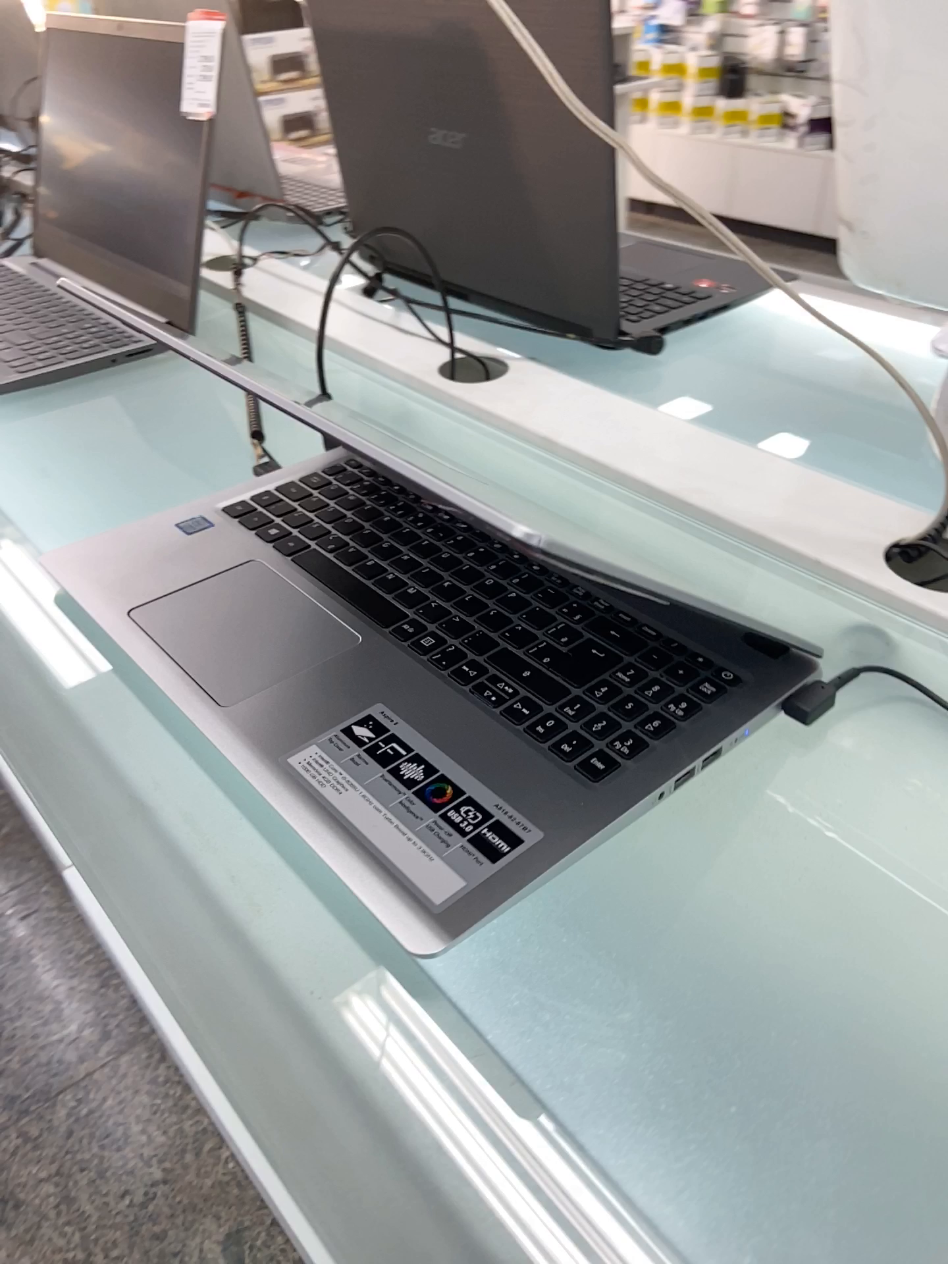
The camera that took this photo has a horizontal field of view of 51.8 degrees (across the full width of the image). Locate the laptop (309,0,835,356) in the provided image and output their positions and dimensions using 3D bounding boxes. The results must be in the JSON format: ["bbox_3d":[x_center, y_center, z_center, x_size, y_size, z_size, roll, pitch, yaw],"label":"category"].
[{"bbox_3d":[0.077,-0.470,0.915,0.265,0.249,0.364,-29,44,-30],"label":"laptop"}]

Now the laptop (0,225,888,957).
[{"bbox_3d":[-0.047,-0.069,0.467,0.236,0.138,0.361,-29,43,-31],"label":"laptop"}]
